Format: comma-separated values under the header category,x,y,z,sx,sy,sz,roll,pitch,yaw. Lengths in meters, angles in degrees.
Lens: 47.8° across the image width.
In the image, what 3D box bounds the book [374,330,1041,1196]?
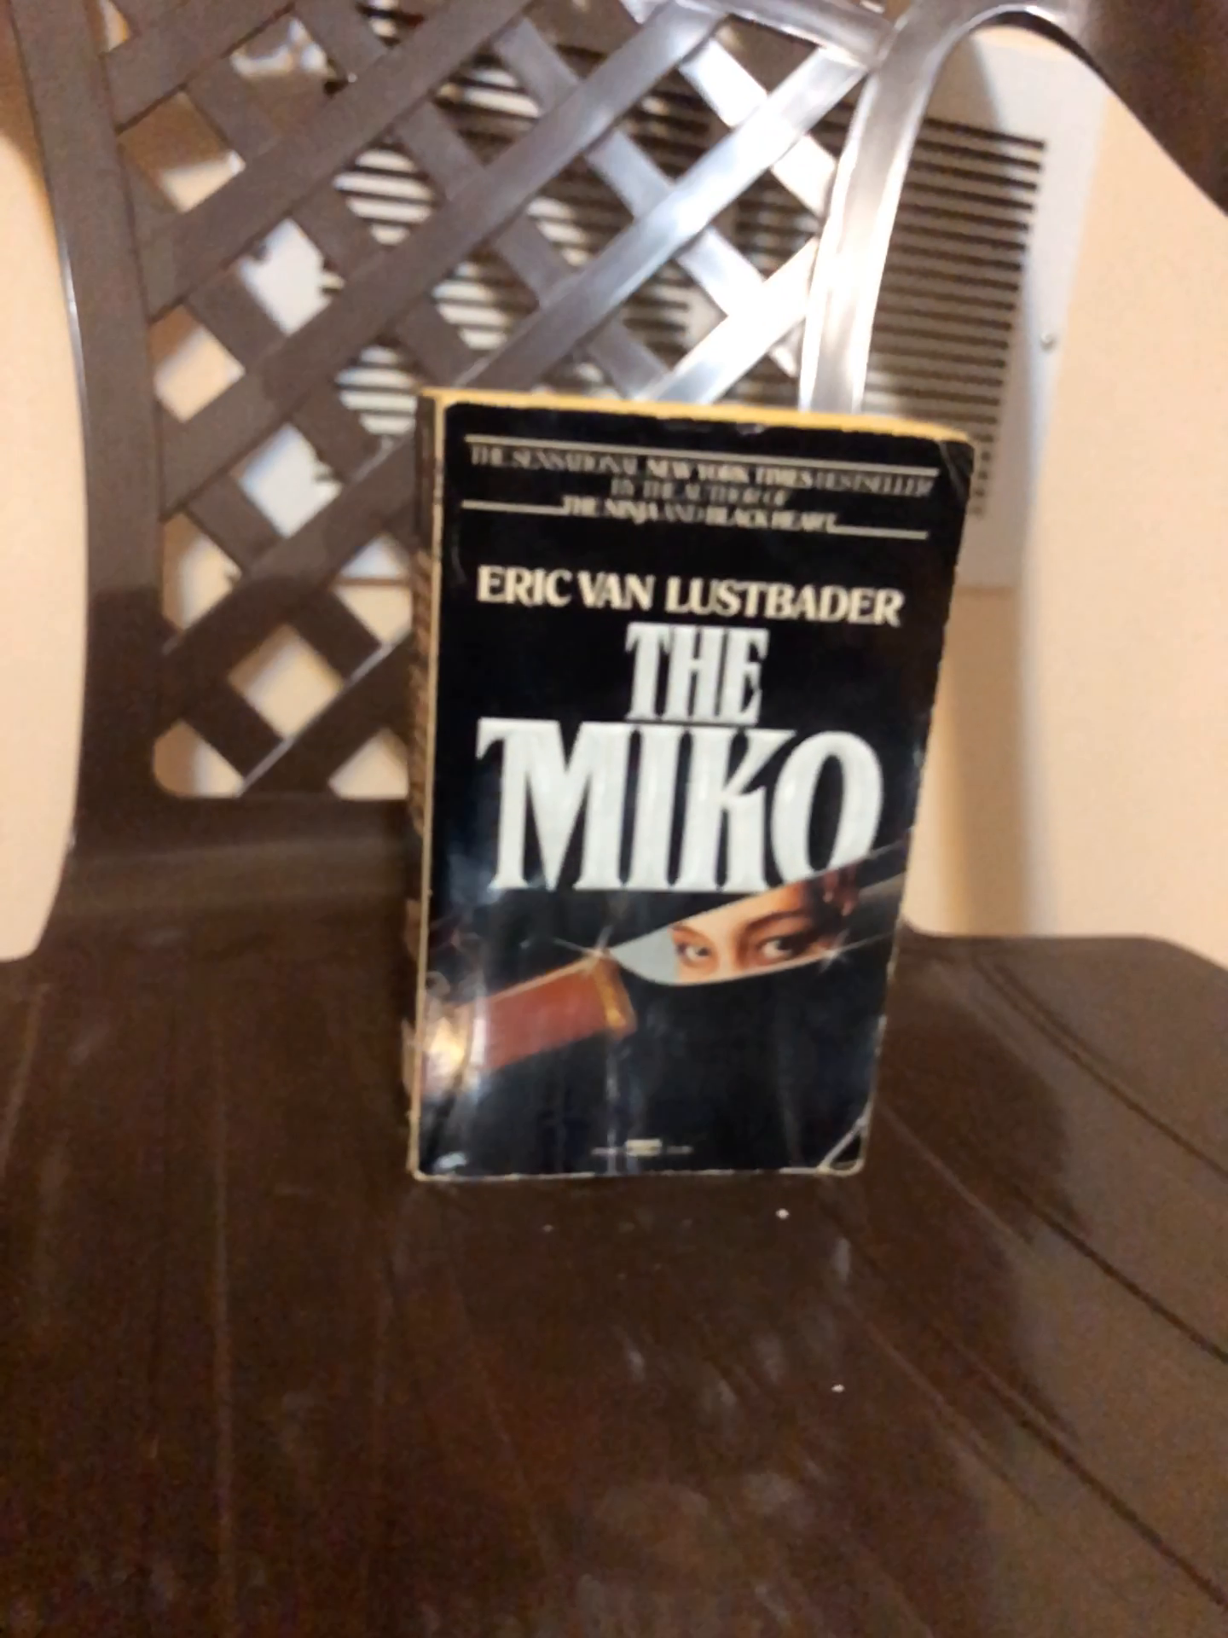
category,x,y,z,sx,sy,sz,roll,pitch,yaw
book,0.014,-0.008,0.297,0.120,0.169,0.040,2,14,-12
